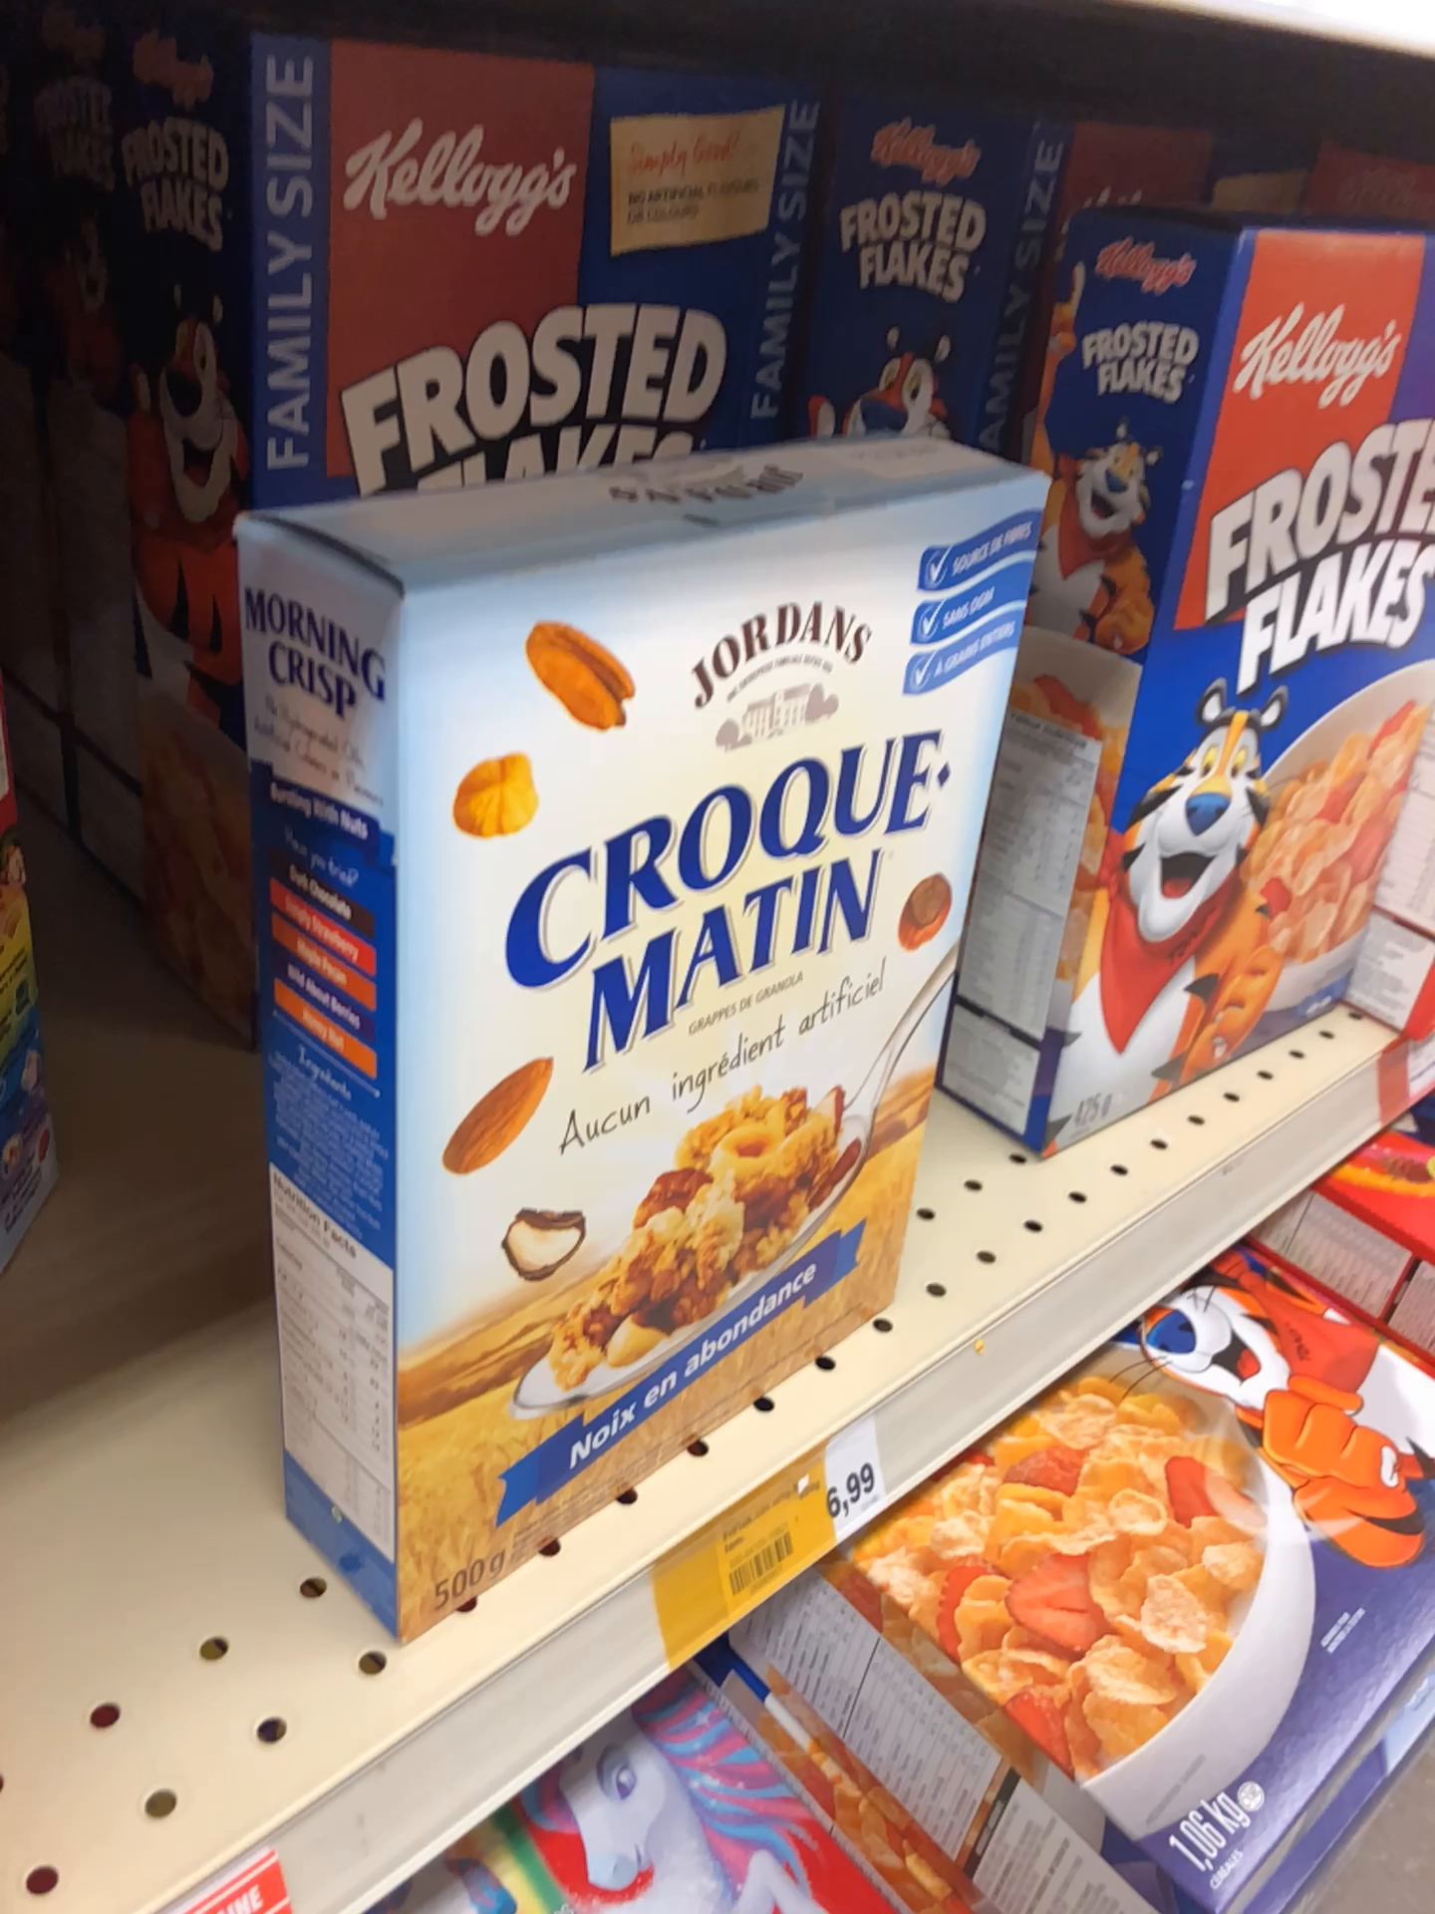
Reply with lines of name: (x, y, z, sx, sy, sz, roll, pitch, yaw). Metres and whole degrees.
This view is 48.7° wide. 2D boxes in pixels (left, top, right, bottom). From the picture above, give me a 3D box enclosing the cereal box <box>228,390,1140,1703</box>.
cereal box: (-0.006, 0.014, 0.370, 0.050, 0.258, 0.201, 30, 37, 34)
